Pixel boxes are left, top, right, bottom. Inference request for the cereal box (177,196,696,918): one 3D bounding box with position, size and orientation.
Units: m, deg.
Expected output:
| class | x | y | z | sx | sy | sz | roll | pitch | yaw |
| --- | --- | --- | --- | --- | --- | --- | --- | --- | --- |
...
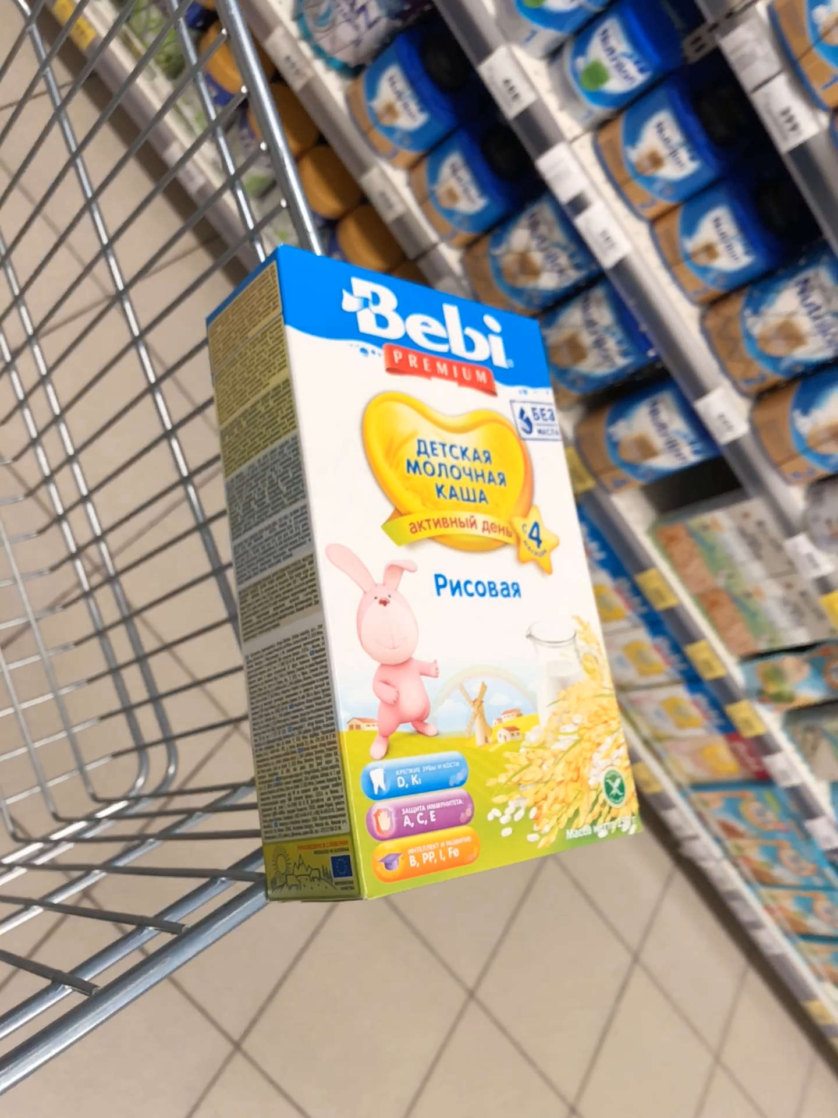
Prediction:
| class | x | y | z | sx | sy | sz | roll | pitch | yaw |
| --- | --- | --- | --- | --- | --- | --- | --- | --- | --- |
| cereal box | 0.006 | -0.001 | 0.324 | 0.150 | 0.050 | 0.210 | 2 | 72 | -38 |
